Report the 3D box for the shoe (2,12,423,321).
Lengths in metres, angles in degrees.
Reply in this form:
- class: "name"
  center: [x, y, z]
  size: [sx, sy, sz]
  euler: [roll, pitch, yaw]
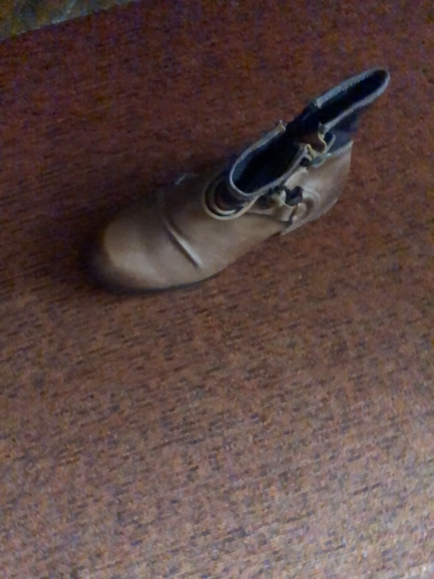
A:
- class: "shoe"
  center: [-0.002, -0.086, 0.438]
  size: [0.280, 0.190, 0.110]
  euler: [-24, 82, -2]
